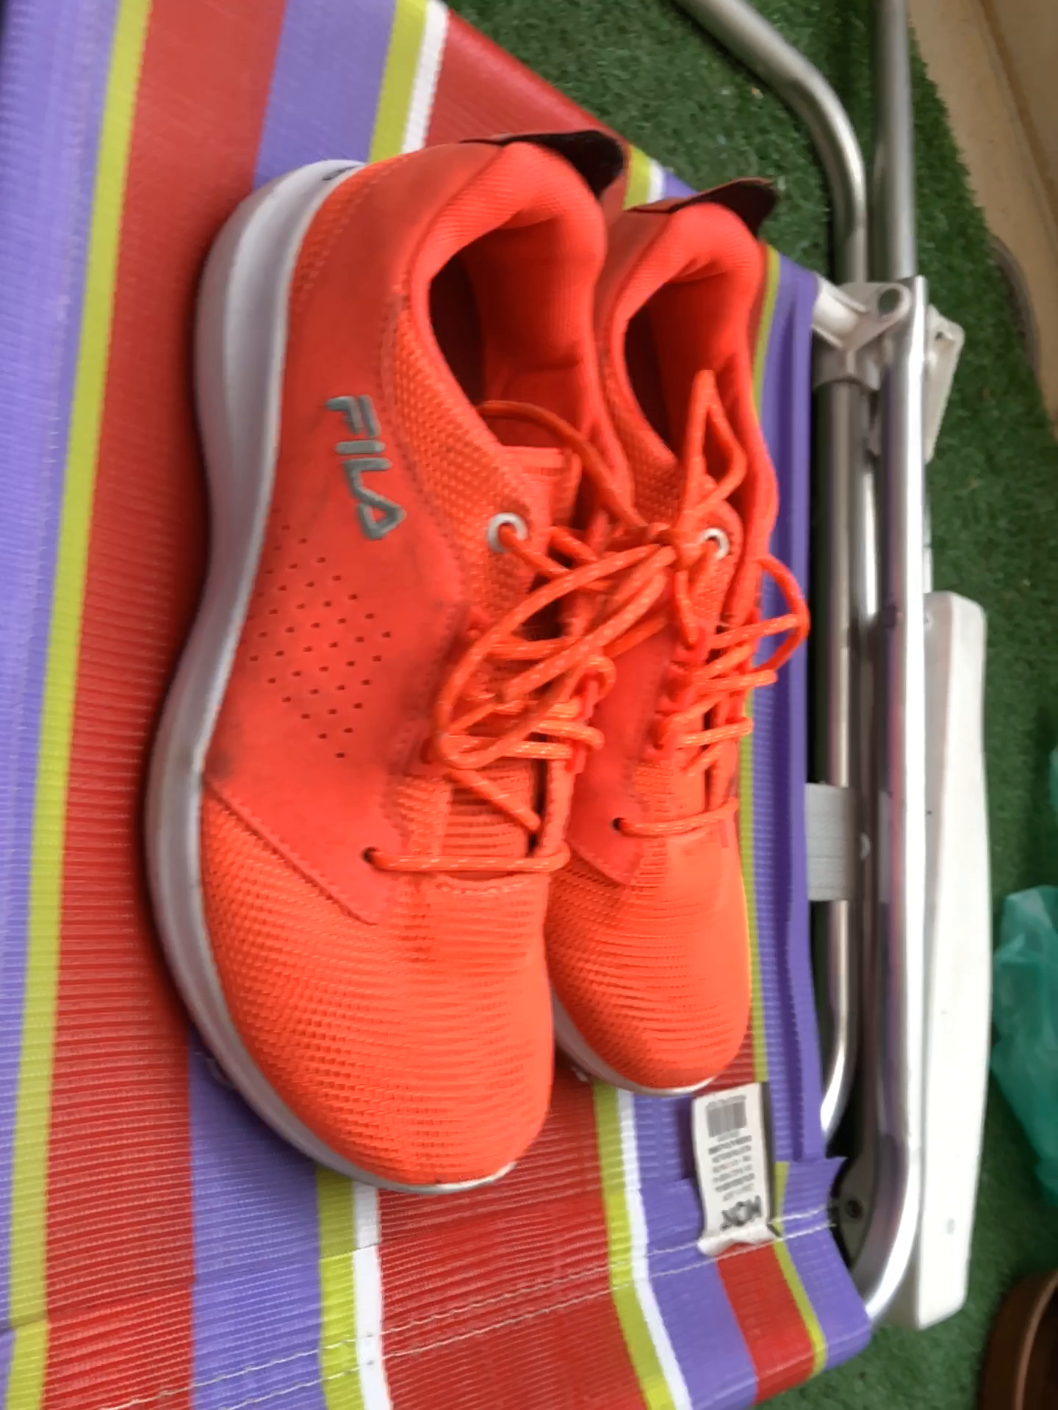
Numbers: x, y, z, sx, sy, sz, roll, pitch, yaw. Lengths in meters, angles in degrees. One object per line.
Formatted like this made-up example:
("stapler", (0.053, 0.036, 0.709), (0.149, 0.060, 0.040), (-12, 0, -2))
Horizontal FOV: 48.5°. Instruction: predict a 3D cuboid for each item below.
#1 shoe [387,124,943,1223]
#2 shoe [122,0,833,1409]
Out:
("shoe", (0.039, -0.007, 0.333), (0.101, 0.089, 0.250), (-4, 88, -43))
("shoe", (-0.012, 0.006, 0.249), (0.101, 0.099, 0.230), (2, 84, -50))
